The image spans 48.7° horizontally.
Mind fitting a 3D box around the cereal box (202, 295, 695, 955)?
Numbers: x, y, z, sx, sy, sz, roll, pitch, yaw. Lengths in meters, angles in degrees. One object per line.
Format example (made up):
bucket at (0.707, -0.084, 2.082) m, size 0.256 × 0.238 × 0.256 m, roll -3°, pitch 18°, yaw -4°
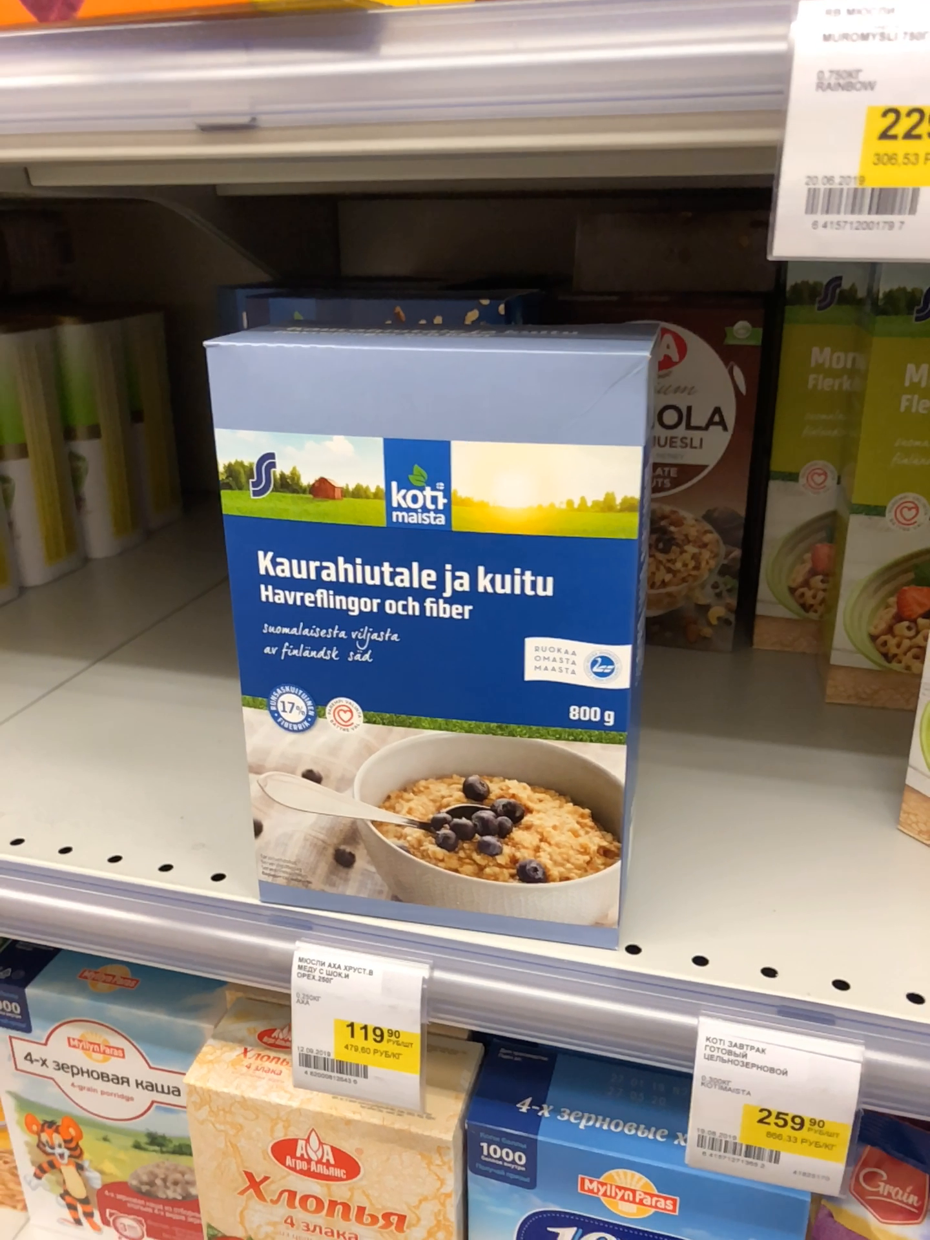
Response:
cereal box at (0.000, -0.002, 0.382) m, size 0.150 × 0.219 × 0.080 m, roll 4°, pitch 21°, yaw 12°
